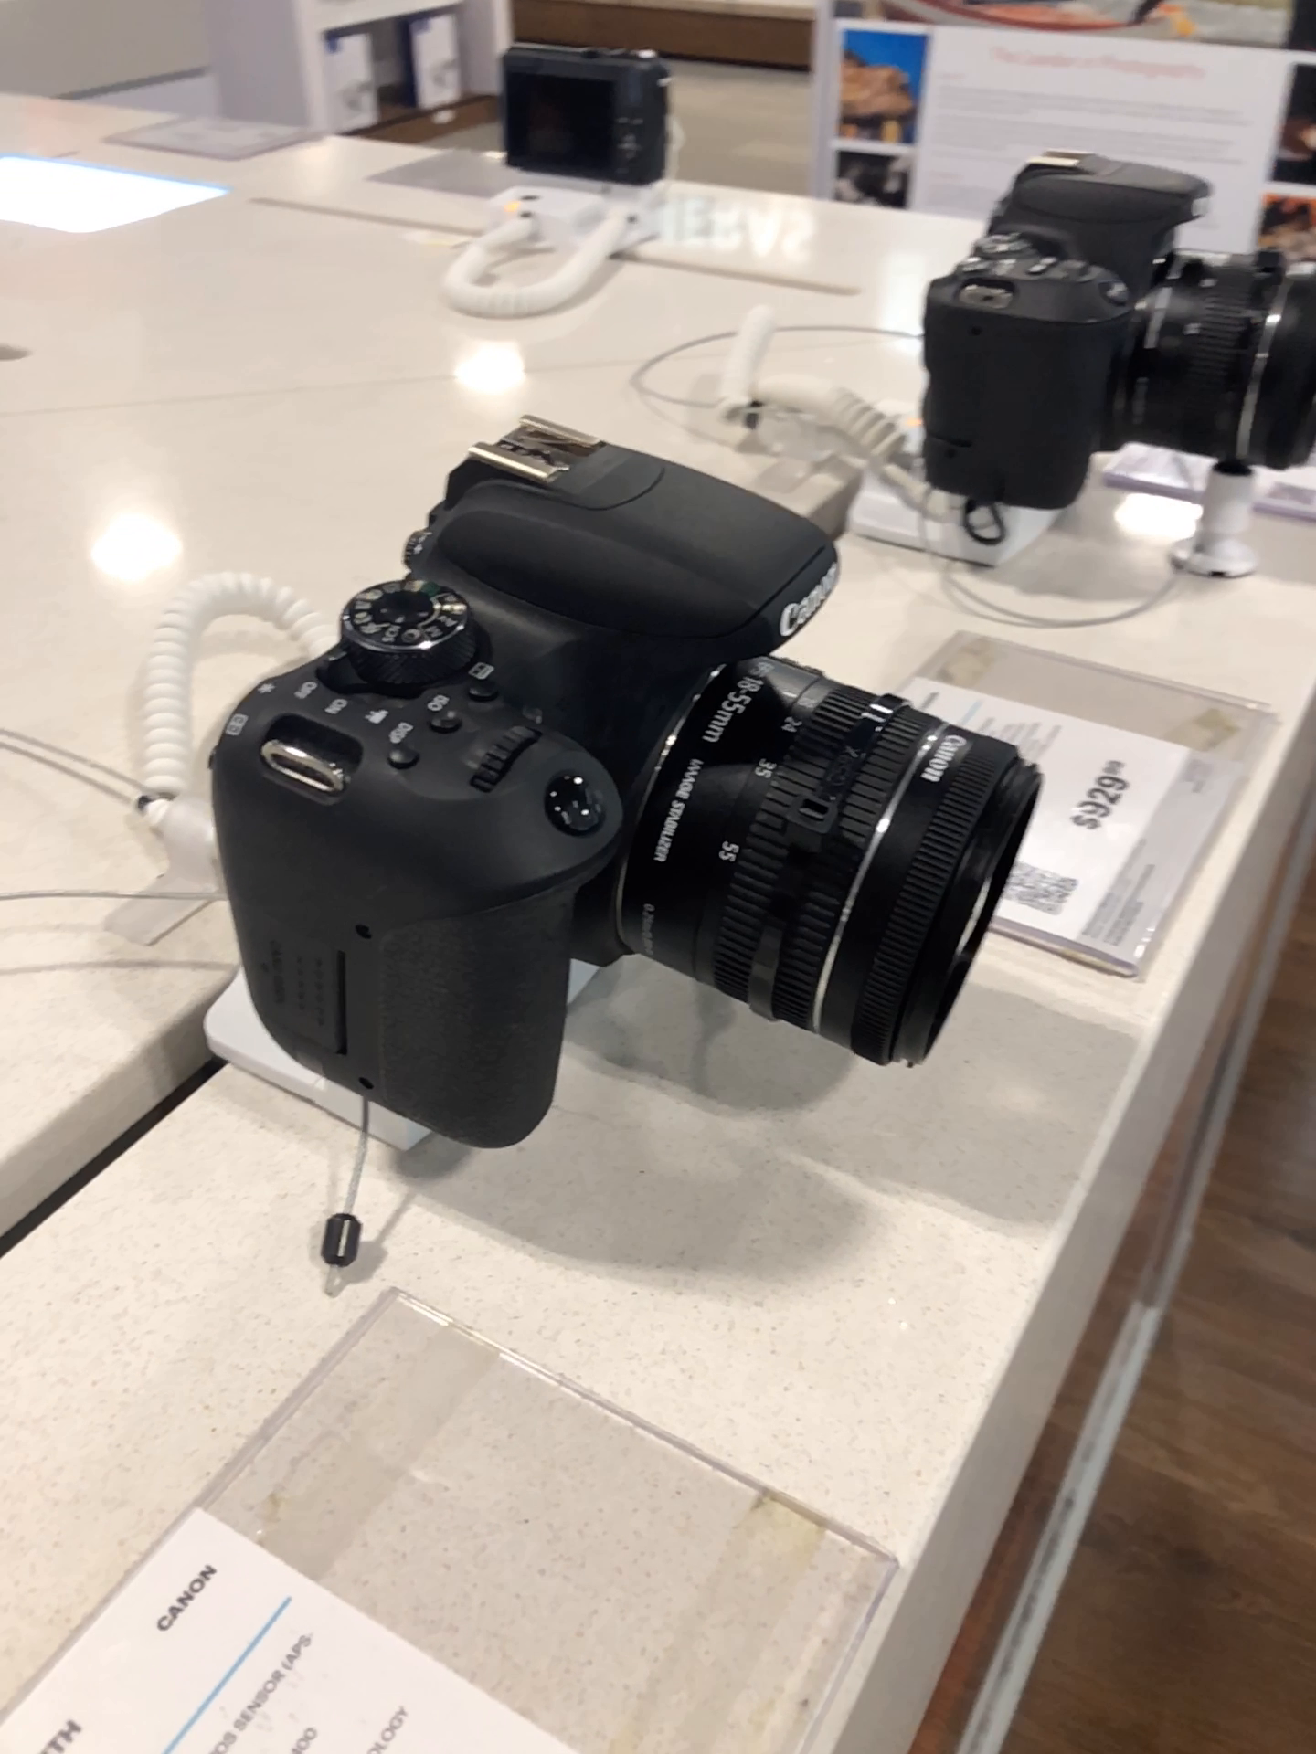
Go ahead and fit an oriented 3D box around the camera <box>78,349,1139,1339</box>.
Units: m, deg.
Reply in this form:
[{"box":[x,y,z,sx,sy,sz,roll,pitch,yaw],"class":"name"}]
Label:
[{"box":[0.001,-0.021,0.277,0.130,0.099,0.141,17,40,21],"class":"camera"}]
